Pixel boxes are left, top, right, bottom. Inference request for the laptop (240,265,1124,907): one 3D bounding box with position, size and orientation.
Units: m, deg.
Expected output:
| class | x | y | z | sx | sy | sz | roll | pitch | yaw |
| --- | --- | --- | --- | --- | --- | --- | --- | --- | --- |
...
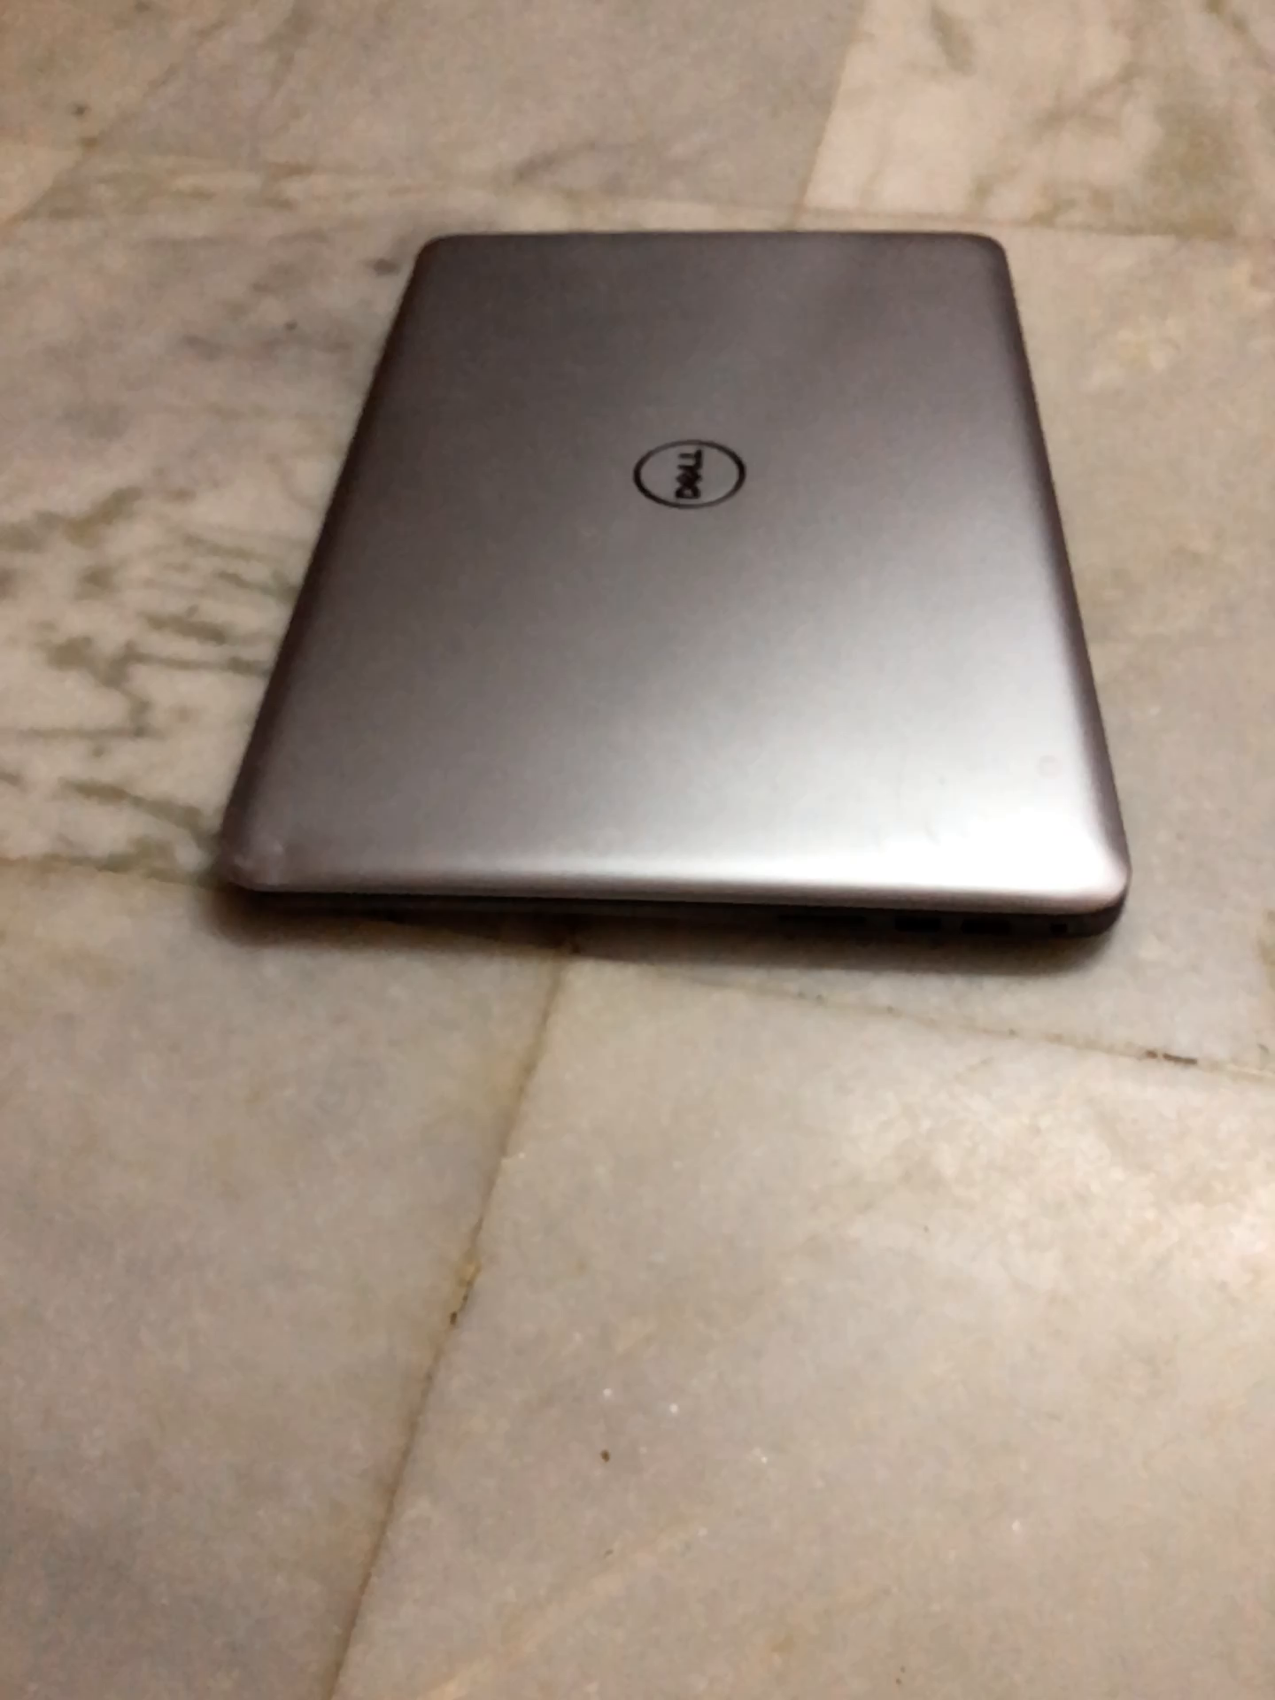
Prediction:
| class | x | y | z | sx | sy | sz | roll | pitch | yaw |
| --- | --- | --- | --- | --- | --- | --- | --- | --- | --- |
| laptop | 0.021 | -0.120 | 0.503 | 0.244 | 0.002 | 0.347 | 1 | 50 | 4 |
